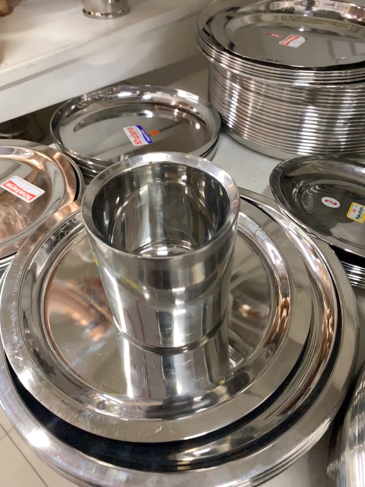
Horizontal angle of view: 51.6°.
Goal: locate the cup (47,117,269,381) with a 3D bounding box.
[{"bbox_3d":[-0.019,-0.002,0.228,0.080,0.090,0.110,-19,49,-16],"label":"cup"}]
